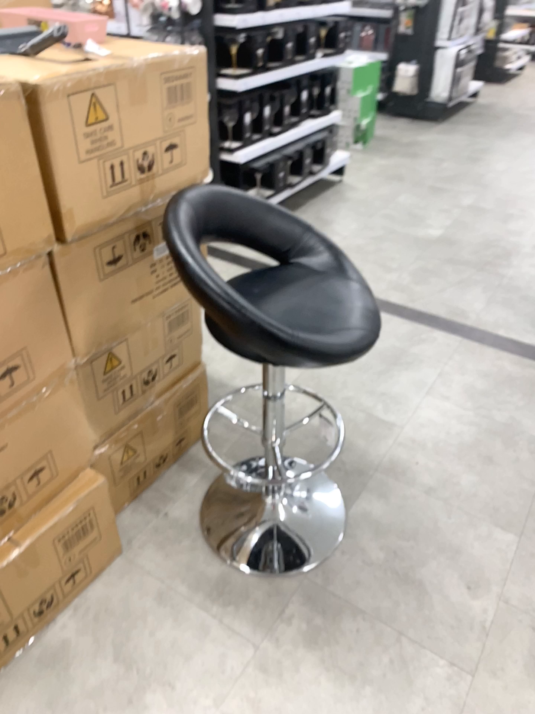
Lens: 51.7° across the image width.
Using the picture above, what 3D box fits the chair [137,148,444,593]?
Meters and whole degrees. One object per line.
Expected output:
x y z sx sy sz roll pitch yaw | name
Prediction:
0.047 0.054 1.348 0.482 0.933 0.514 3 36 3 | chair
